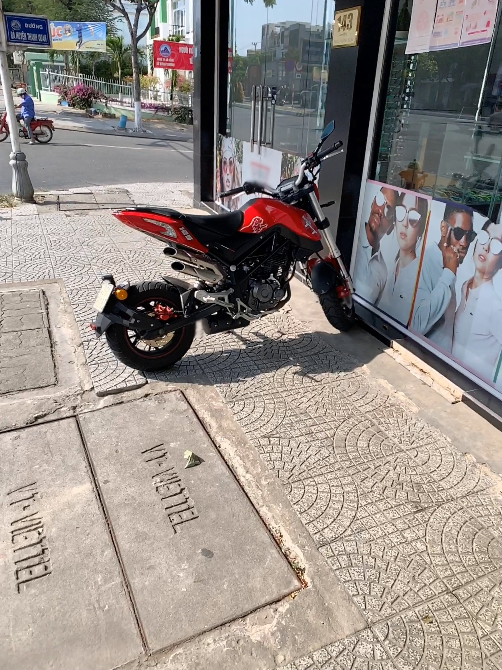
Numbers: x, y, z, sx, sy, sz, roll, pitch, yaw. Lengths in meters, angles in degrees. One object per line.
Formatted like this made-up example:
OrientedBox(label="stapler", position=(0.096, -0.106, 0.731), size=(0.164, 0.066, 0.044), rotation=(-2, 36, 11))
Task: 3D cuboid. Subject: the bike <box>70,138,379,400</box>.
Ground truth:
OrientedBox(label="bike", position=(-0.074, -0.649, 3.476), size=(2.124, 1.216, 0.834), rotation=(-19, 32, -39))
